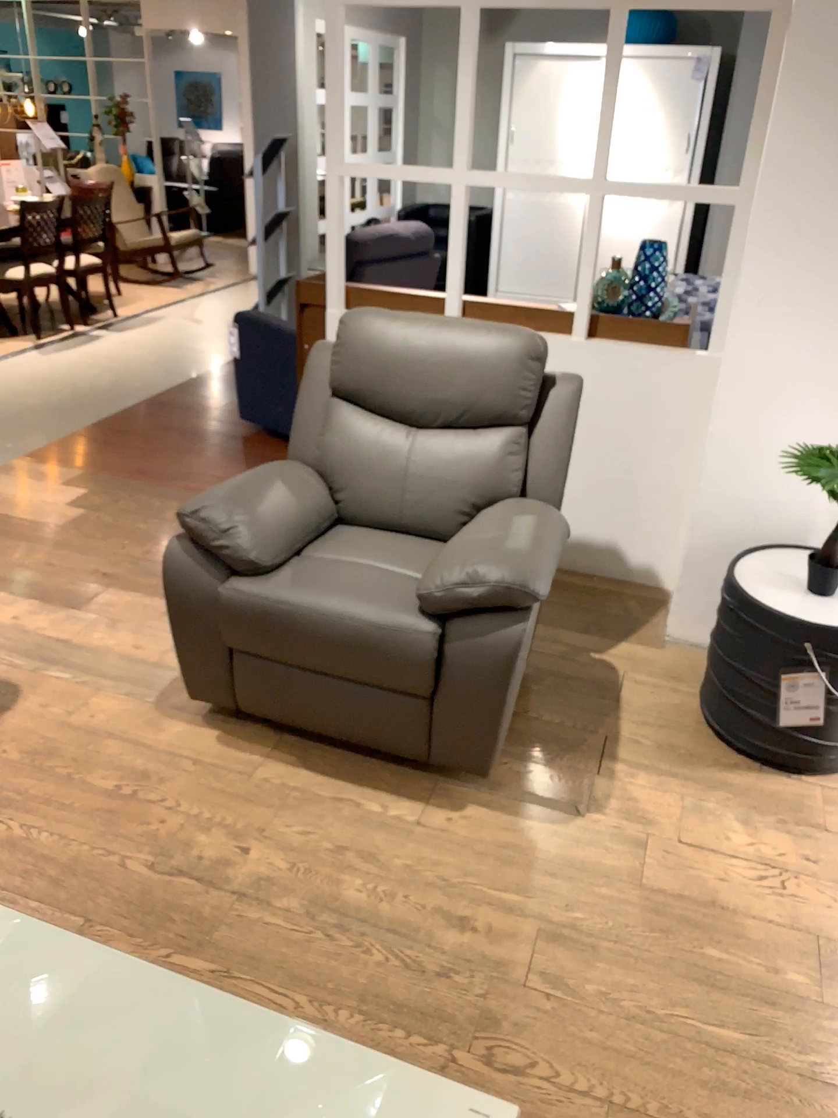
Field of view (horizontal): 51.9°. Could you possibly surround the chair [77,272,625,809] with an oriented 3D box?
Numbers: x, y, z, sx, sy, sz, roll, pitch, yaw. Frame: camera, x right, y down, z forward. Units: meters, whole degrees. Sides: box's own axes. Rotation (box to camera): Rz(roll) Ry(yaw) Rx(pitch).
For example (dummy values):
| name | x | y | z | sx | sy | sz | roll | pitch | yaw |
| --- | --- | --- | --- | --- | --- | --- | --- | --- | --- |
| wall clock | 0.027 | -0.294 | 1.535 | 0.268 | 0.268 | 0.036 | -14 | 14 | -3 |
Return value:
| name | x | y | z | sx | sy | sz | roll | pitch | yaw |
| --- | --- | --- | --- | --- | --- | --- | --- | --- | --- |
| chair | -0.097 | -0.150 | 2.253 | 1.001 | 0.936 | 0.944 | 11 | 28 | 17 |
